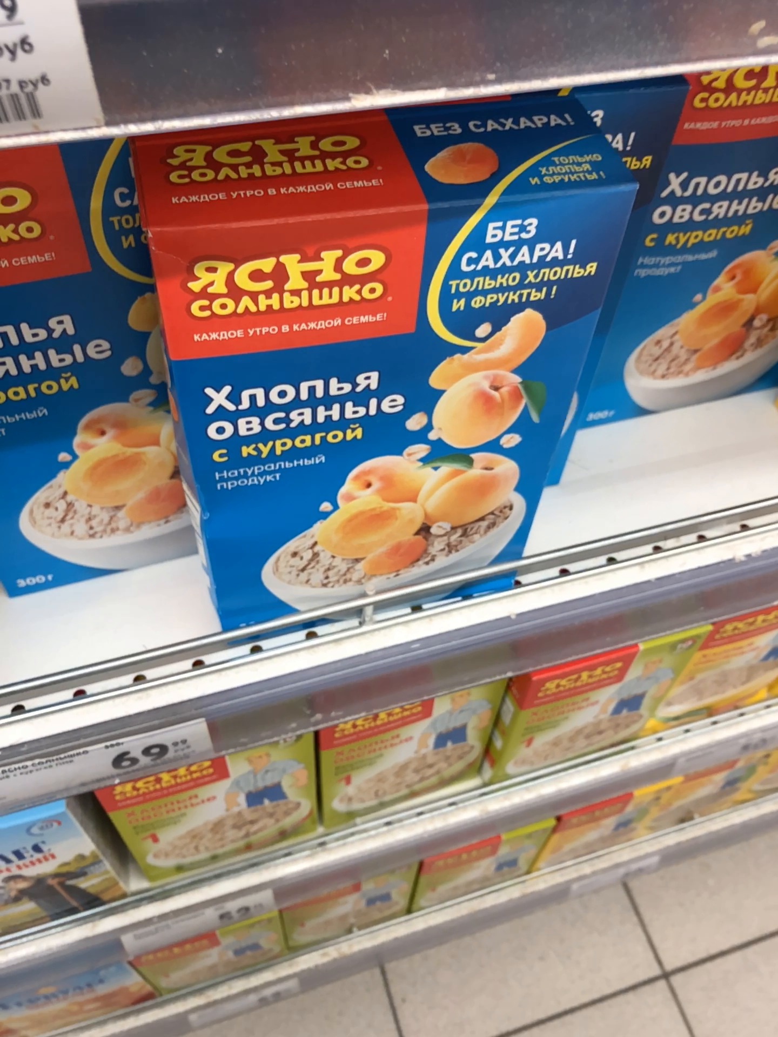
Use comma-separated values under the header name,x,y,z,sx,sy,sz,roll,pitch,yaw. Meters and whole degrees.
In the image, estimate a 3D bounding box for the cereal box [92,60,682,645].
name,x,y,z,sx,sy,sz,roll,pitch,yaw
cereal box,-0.005,-0.042,0.315,0.150,0.209,0.050,-11,54,-11
